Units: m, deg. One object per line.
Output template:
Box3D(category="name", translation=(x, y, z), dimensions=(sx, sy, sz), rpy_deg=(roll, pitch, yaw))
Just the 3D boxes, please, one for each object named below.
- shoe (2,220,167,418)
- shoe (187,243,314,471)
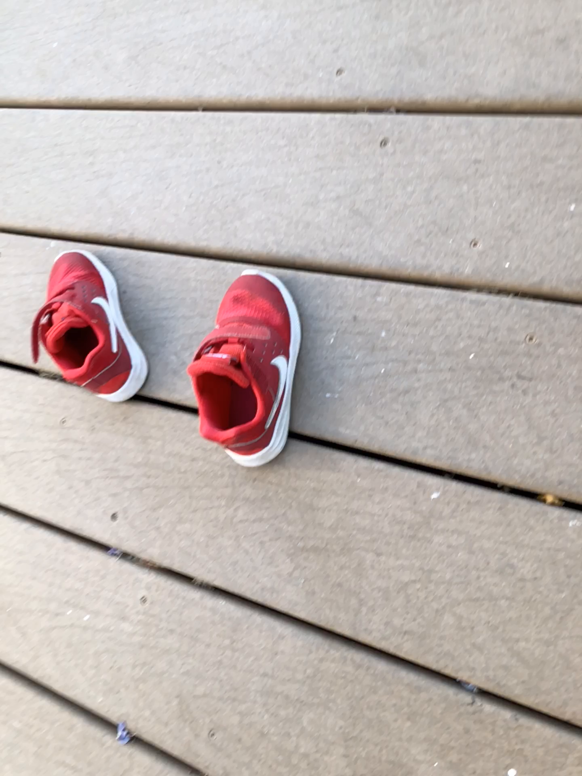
Box3D(category="shoe", translation=(-0.189, -0.061, 0.585), dimensions=(0.073, 0.069, 0.153), rpy_deg=(-32, 70, 15))
Box3D(category="shoe", translation=(-0.029, -0.020, 0.506), dimensions=(0.069, 0.069, 0.164), rpy_deg=(-2, 80, 23))
